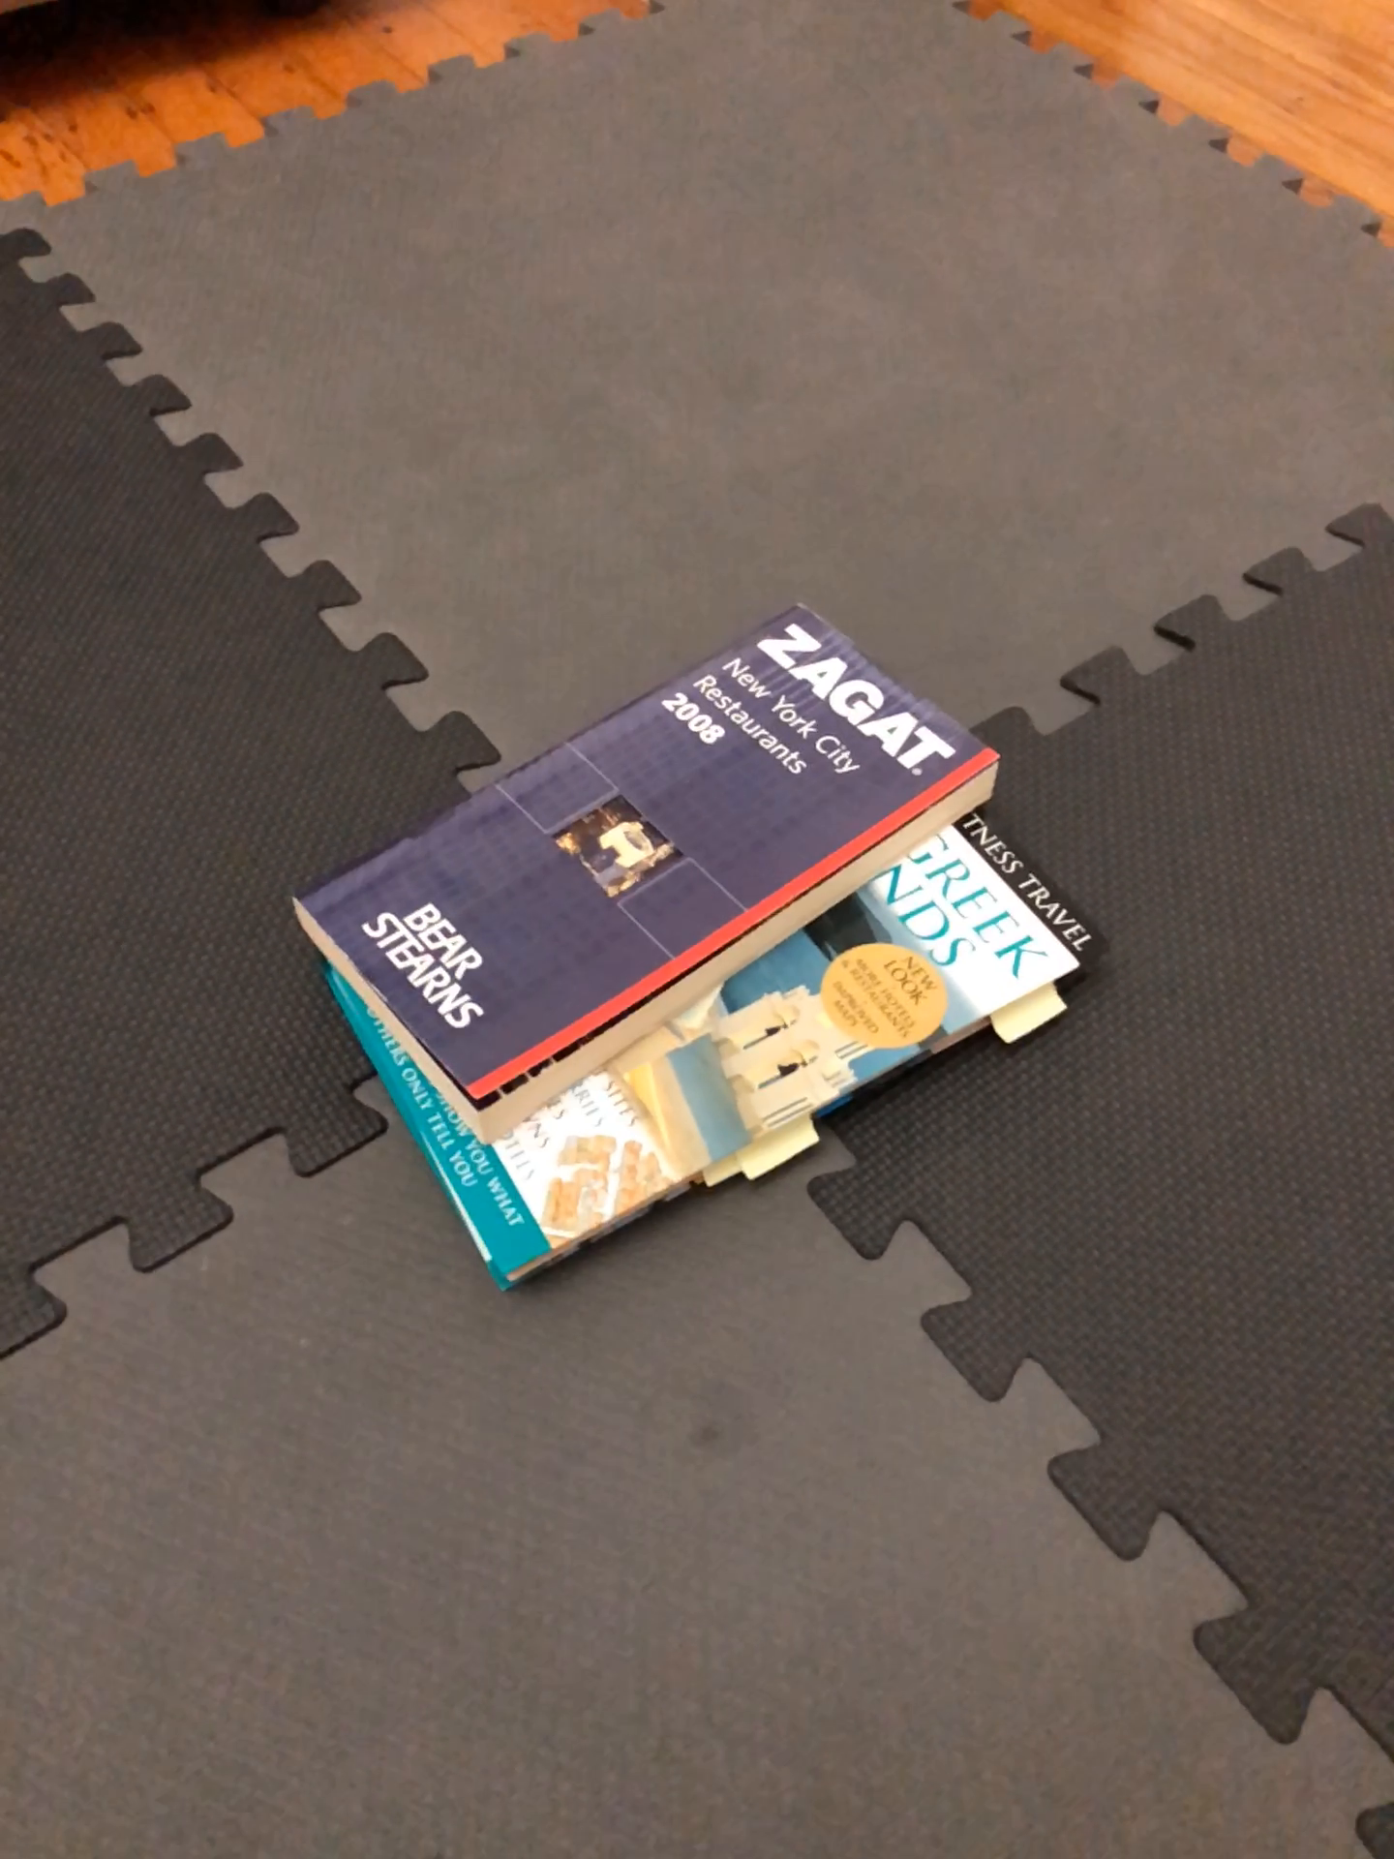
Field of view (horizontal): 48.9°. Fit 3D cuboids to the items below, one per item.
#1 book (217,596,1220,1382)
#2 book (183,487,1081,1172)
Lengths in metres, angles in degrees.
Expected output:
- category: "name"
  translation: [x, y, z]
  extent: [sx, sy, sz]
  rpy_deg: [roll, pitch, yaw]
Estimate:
- category: "book"
  translation: [0.006, 0.000, 0.487]
  extent: [0.260, 0.030, 0.171]
  rpy_deg: [-26, 58, -19]
- category: "book"
  translation: [-0.017, -0.050, 0.501]
  extent: [0.251, 0.020, 0.150]
  rpy_deg: [-34, 61, -23]
